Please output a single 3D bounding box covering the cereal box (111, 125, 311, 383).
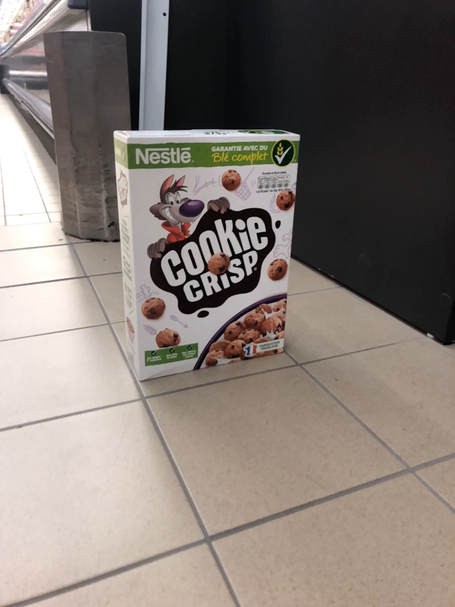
[{"bbox_3d":[-0.017,-0.058,0.570,0.200,0.269,0.060,-9,26,-21],"label":"cereal box"}]
